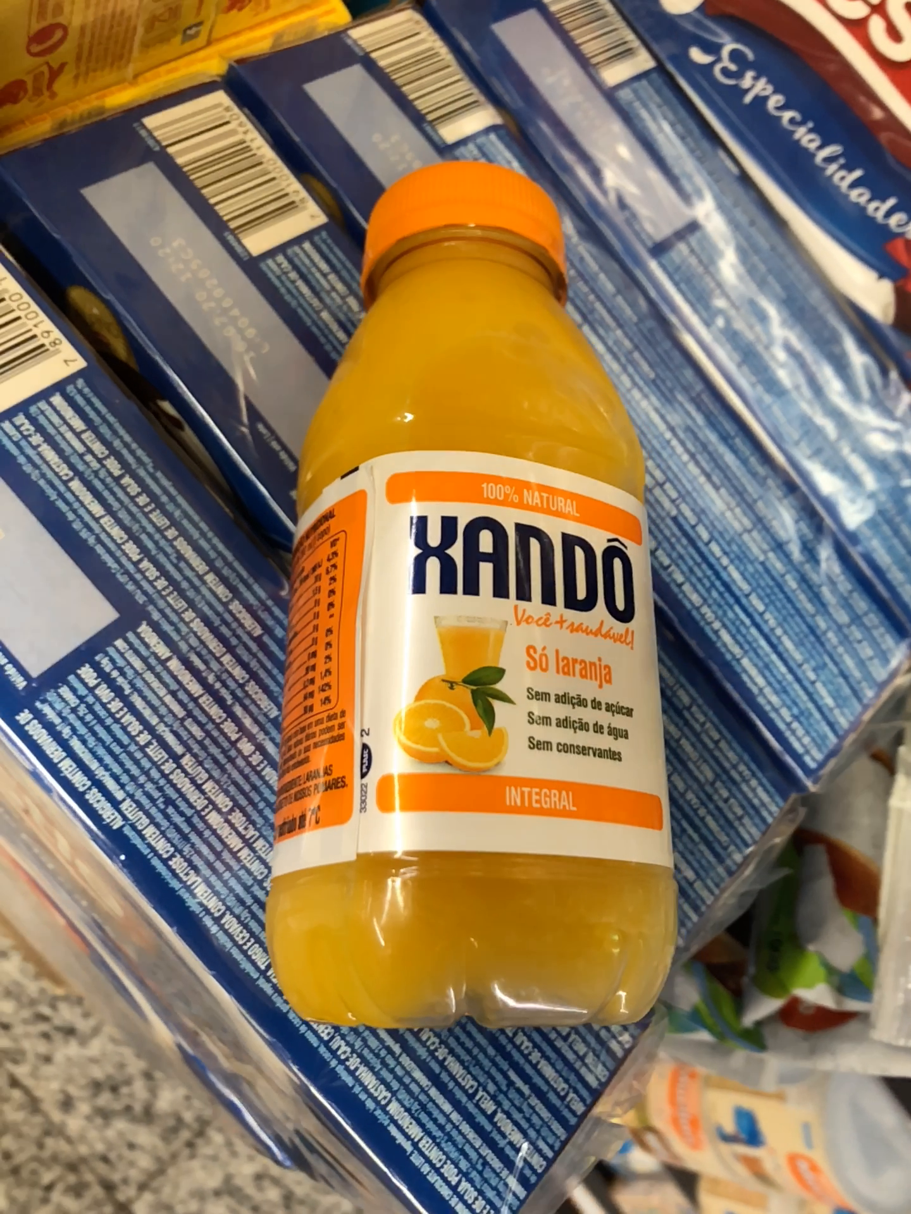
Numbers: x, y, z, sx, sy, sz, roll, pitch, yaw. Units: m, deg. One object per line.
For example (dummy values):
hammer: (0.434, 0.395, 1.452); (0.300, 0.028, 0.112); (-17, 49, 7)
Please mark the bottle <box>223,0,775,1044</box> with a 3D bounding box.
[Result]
bottle: (0.001, -0.015, 0.193); (0.060, 0.080, 0.170); (8, 71, -23)
